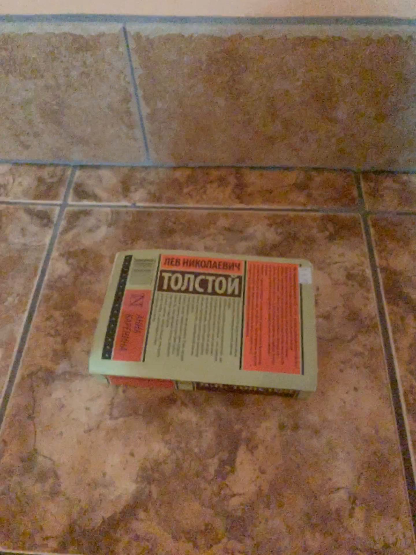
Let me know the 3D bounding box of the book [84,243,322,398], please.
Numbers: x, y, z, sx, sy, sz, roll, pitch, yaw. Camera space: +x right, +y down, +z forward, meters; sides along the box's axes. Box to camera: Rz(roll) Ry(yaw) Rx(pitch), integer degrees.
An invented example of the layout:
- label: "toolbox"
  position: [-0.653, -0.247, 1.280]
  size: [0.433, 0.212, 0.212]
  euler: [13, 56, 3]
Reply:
- label: "book"
  position: [-0.001, 0.035, 0.381]
  size: [0.185, 0.044, 0.120]
  euler: [3, 59, 3]
